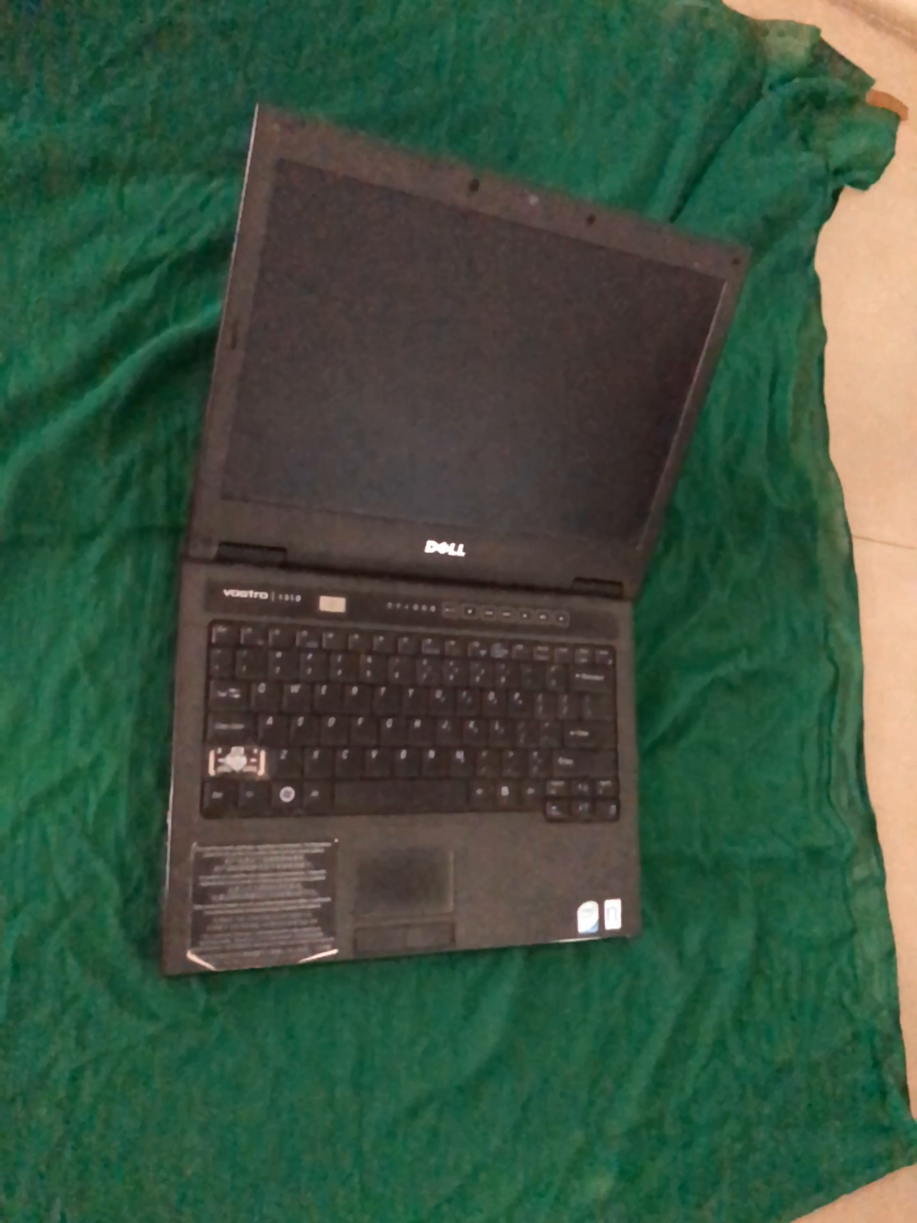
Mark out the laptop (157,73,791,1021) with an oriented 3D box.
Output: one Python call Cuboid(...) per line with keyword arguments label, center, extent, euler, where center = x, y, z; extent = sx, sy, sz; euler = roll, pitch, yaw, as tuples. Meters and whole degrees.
Cuboid(label="laptop", center=(0.018, -0.020, 0.584), extent=(0.313, 0.127, 0.438), euler=(5, 84, -25))
